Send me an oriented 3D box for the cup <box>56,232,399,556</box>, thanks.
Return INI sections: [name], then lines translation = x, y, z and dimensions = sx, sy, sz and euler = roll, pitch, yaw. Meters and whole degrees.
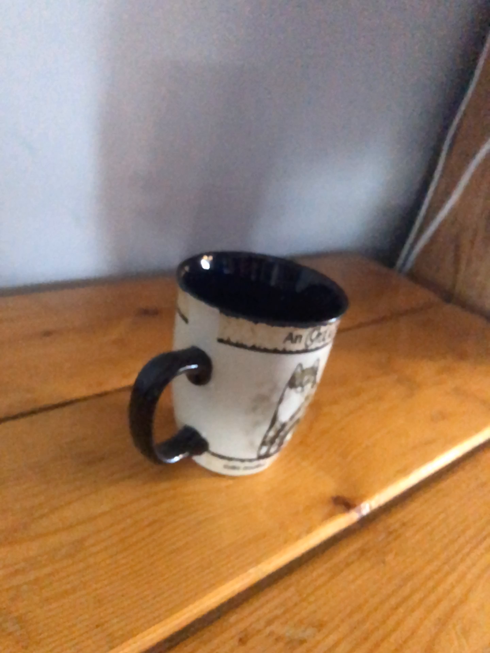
[cup]
translation = -0.009, 0.021, 0.301
dimensions = 0.100, 0.100, 0.140
euler = 33, 33, 32
